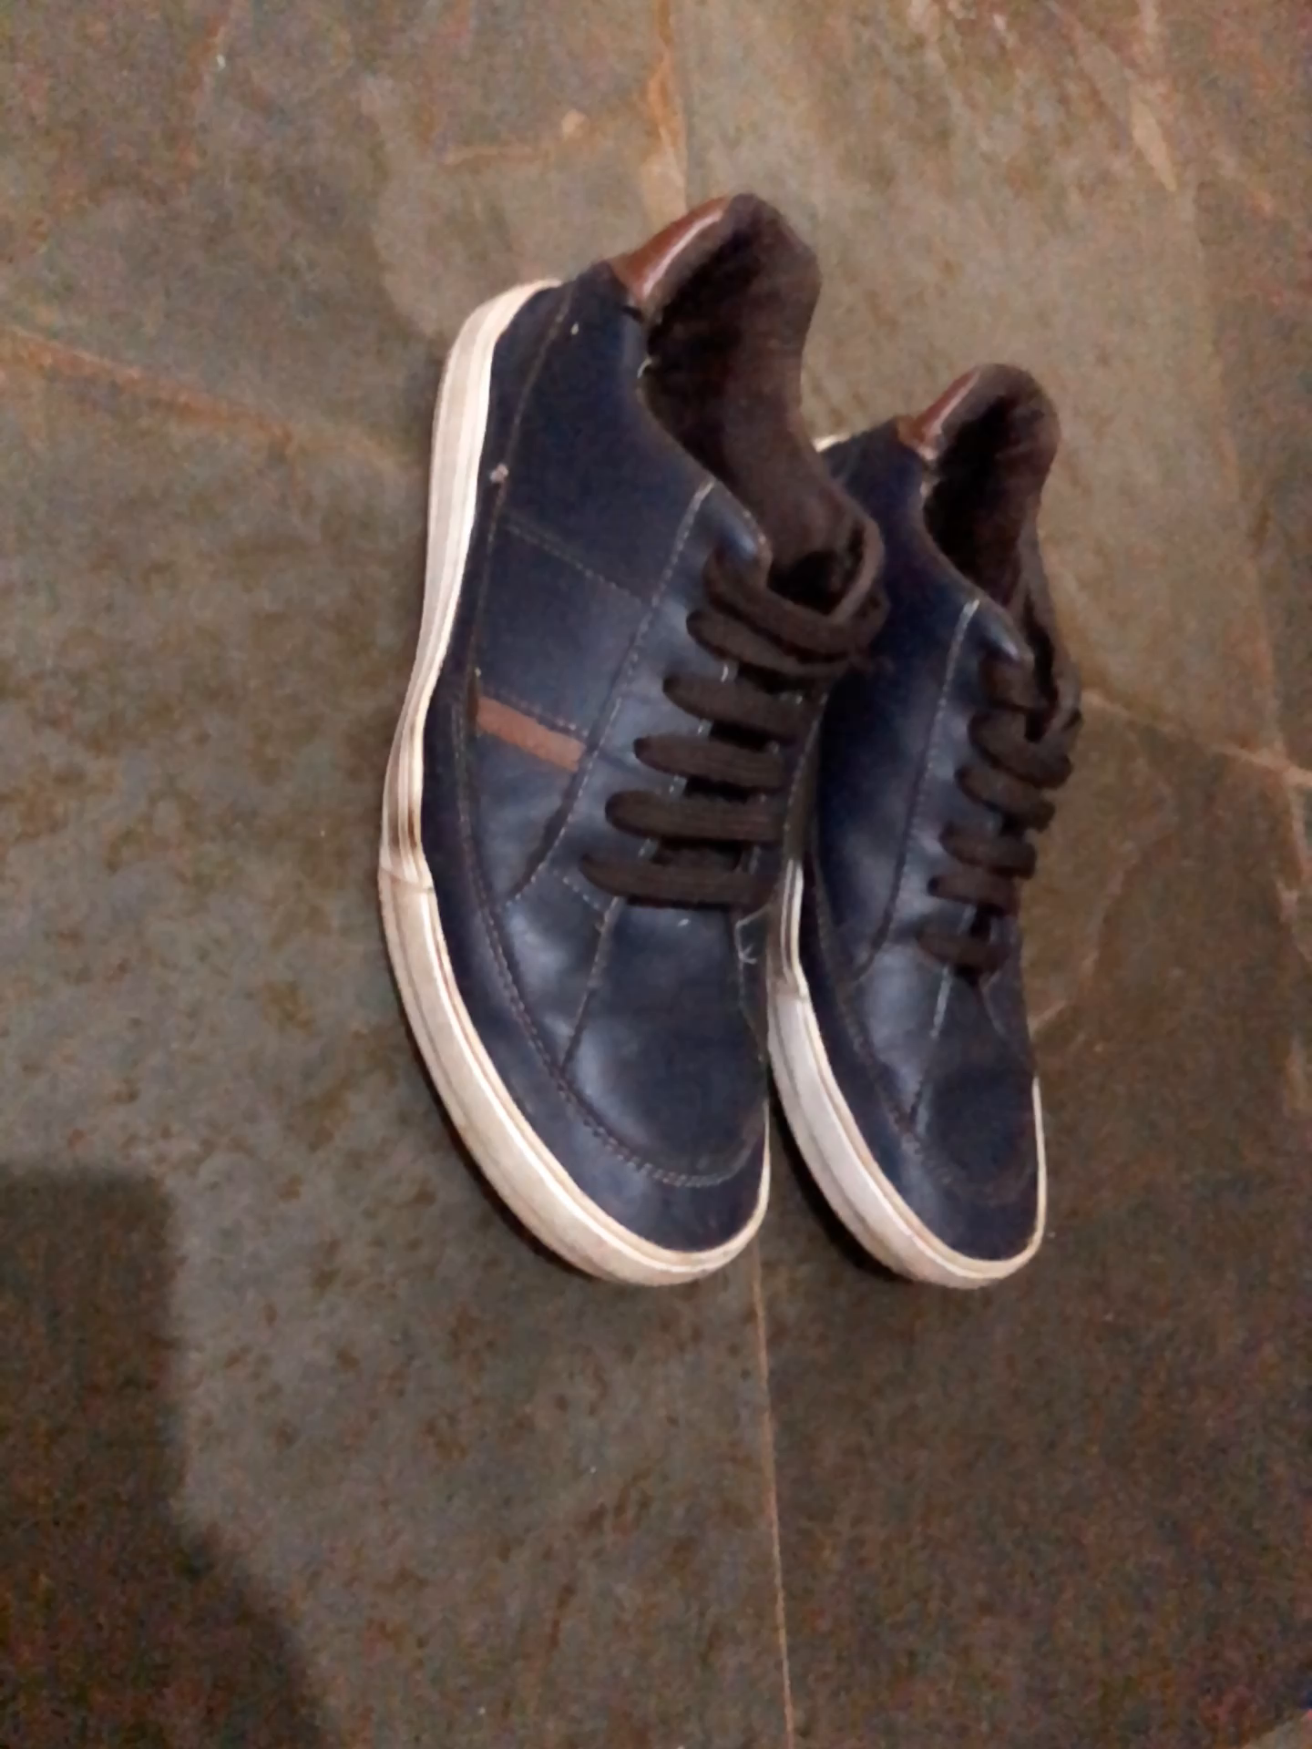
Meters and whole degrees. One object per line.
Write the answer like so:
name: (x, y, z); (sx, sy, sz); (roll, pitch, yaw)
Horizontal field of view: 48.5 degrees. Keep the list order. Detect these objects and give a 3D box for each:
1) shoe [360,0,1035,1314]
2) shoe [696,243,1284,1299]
shoe: (0.003, -0.044, 0.372); (0.121, 0.099, 0.290); (10, 71, -41)
shoe: (0.098, -0.024, 0.455); (0.111, 0.099, 0.290); (8, 72, -42)
